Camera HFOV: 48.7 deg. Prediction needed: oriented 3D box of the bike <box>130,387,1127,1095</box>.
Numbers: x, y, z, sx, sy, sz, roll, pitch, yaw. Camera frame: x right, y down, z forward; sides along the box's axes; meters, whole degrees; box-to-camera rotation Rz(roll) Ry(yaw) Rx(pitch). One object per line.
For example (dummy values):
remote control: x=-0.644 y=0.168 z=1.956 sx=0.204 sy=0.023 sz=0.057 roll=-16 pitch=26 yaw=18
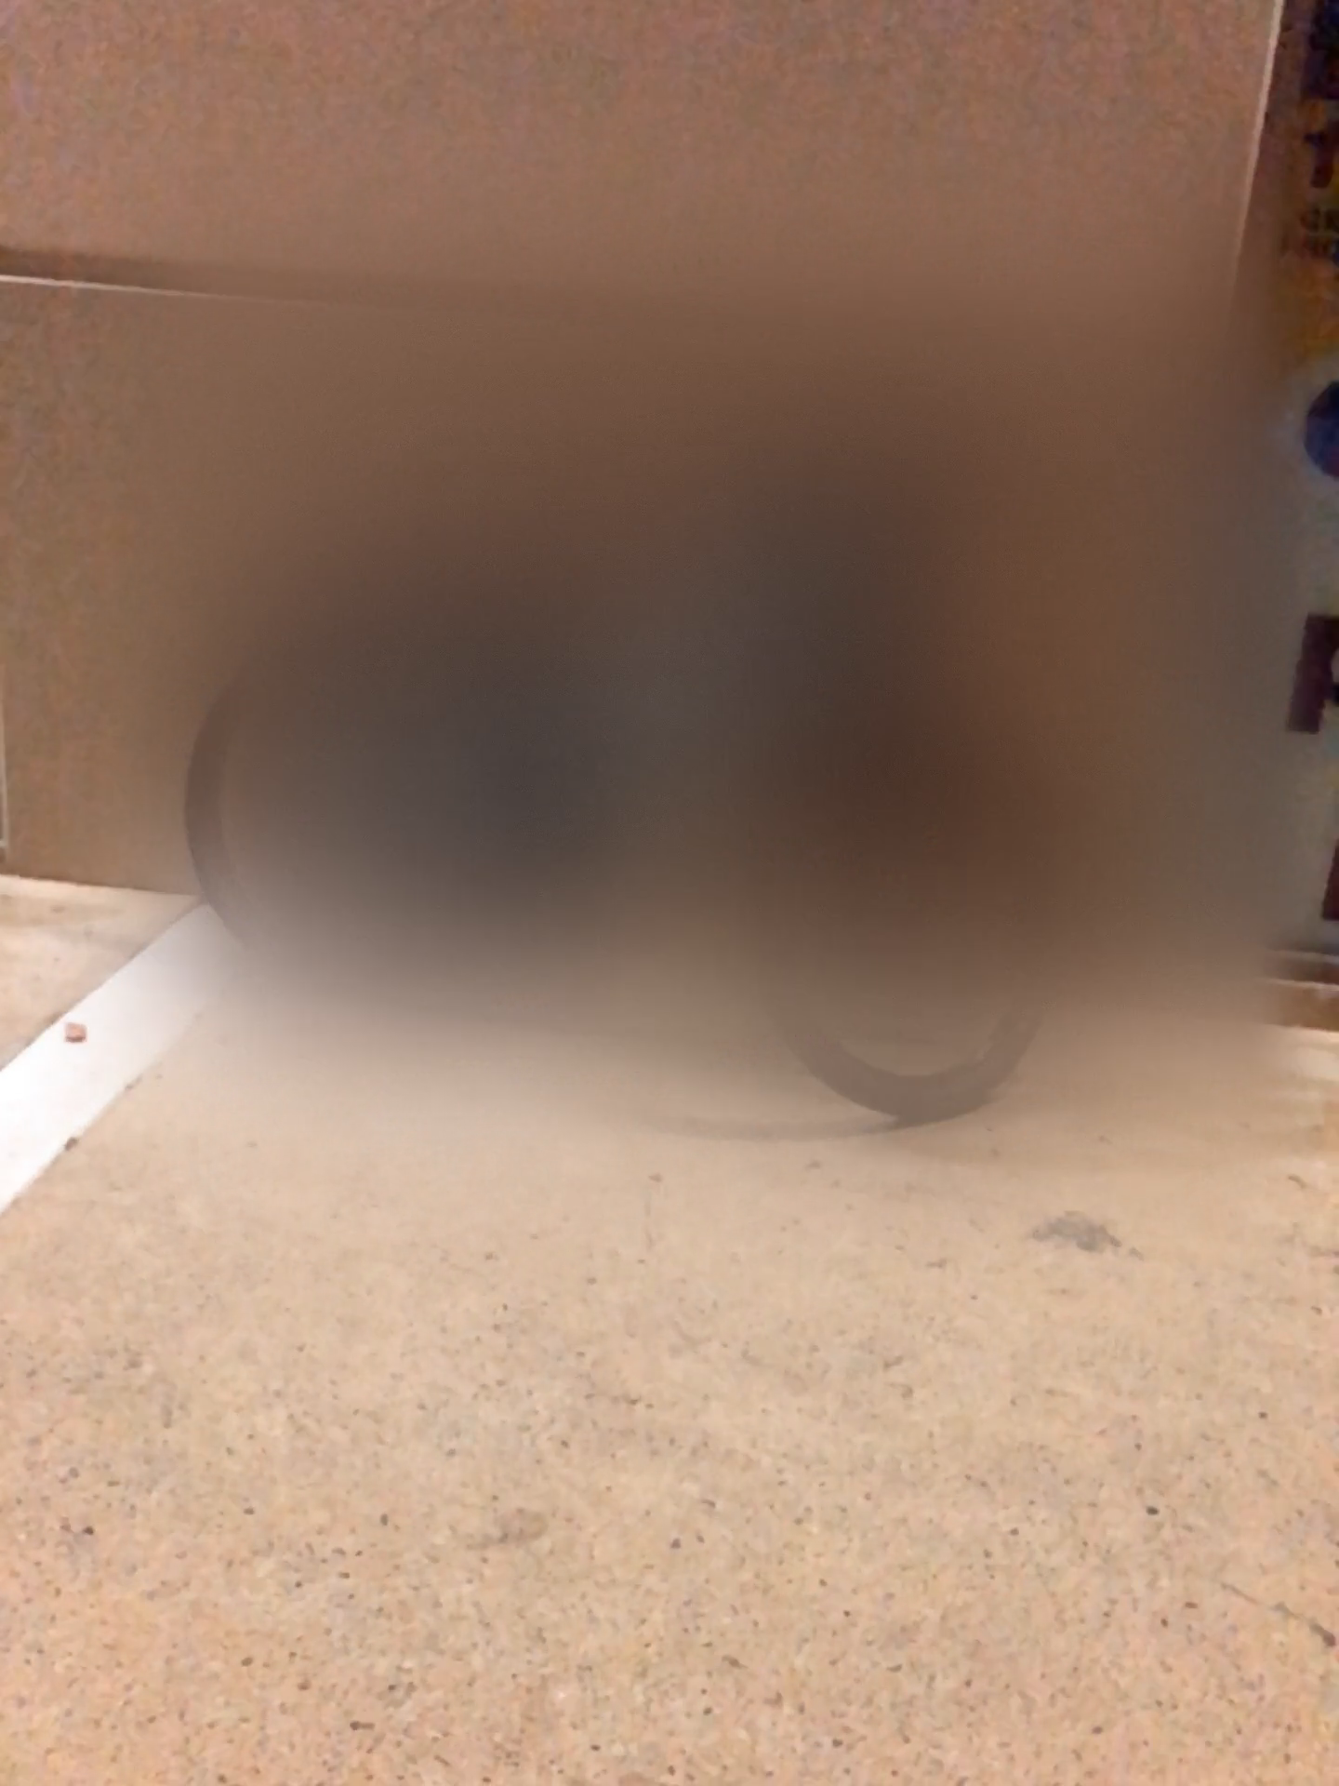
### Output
bike: x=-0.061 y=-0.321 z=2.772 sx=1.603 sy=1.063 sz=0.589 roll=6 pitch=17 yaw=7
